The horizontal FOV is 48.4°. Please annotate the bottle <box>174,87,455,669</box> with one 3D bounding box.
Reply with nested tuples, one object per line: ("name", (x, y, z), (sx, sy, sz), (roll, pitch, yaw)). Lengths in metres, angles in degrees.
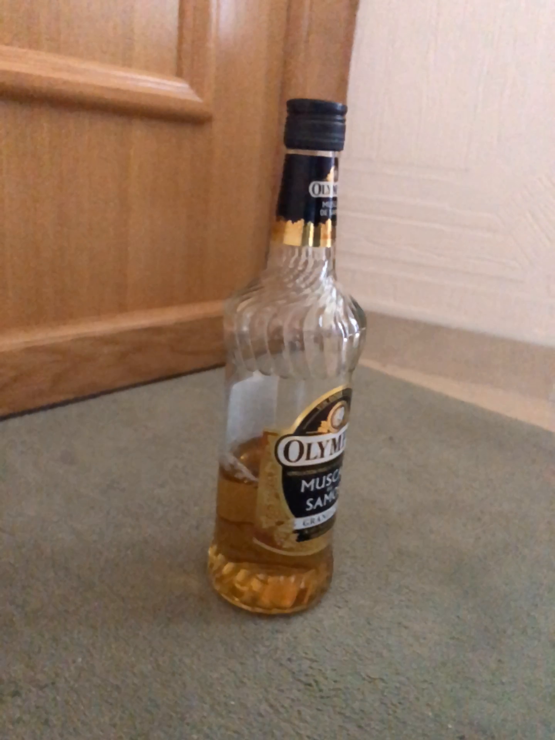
("bottle", (0.011, 0.004, 0.347), (0.090, 0.289, 0.090), (5, 19, -2))
